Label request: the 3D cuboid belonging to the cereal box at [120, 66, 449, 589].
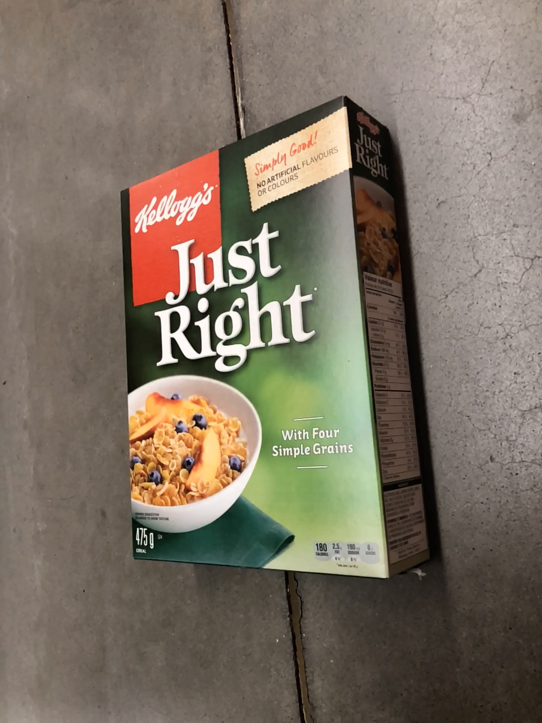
[{"bbox_3d":[-0.007,-0.011,0.410,0.211,0.060,0.290,-10,80,36],"label":"cereal box"}]
